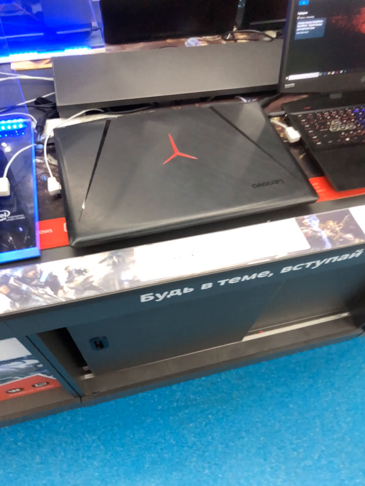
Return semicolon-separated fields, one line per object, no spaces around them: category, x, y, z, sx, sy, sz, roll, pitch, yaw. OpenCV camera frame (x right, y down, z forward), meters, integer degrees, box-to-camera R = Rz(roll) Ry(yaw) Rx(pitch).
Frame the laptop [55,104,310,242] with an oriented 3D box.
laptop;-0.012;-0.146;0.727;0.399;0.005;0.270;-12;54;-12
